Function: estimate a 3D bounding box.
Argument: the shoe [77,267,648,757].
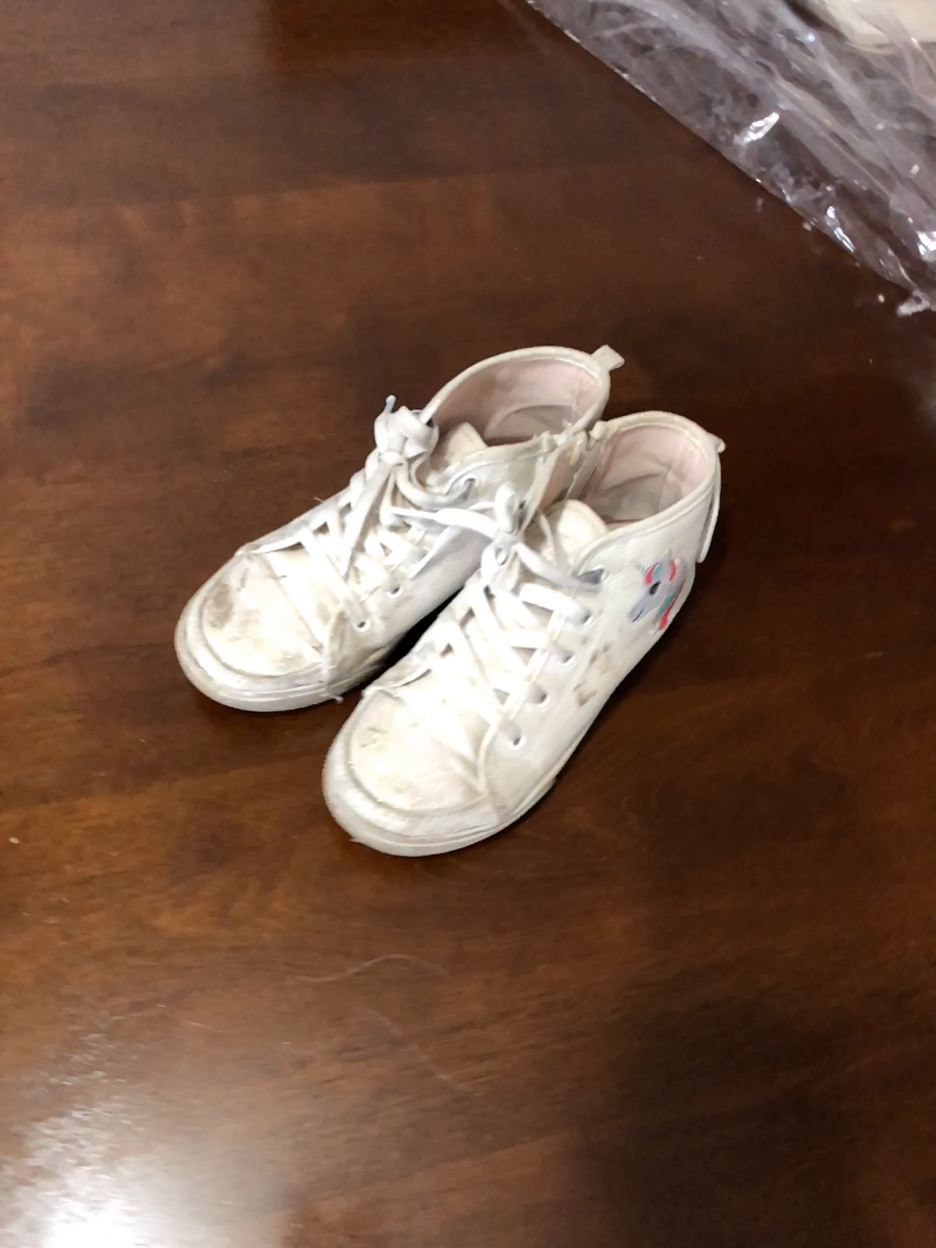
[{"bbox_3d":[-0.041,-0.053,0.466,0.220,0.100,0.090,-32,68,-21],"label":"shoe"}]

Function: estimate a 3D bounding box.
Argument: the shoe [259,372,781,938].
[{"bbox_3d":[0.025,0.009,0.449,0.090,0.100,0.220,37,63,14],"label":"shoe"}]
